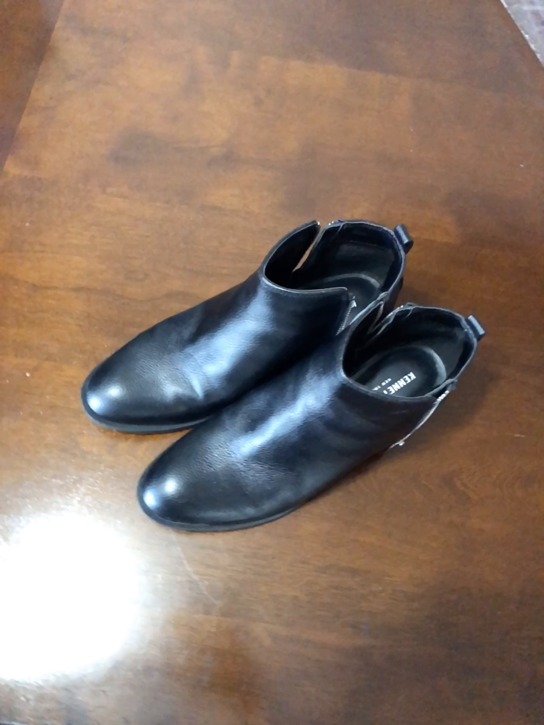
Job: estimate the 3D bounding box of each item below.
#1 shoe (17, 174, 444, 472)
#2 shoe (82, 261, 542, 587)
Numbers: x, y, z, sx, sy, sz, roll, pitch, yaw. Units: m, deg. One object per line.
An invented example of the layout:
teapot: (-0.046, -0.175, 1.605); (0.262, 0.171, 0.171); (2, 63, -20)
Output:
shoe: (-0.028, -0.025, 0.453); (0.260, 0.130, 0.100); (-20, 72, -12)
shoe: (0.025, 0.048, 0.421); (0.260, 0.130, 0.100); (-23, 72, -12)
